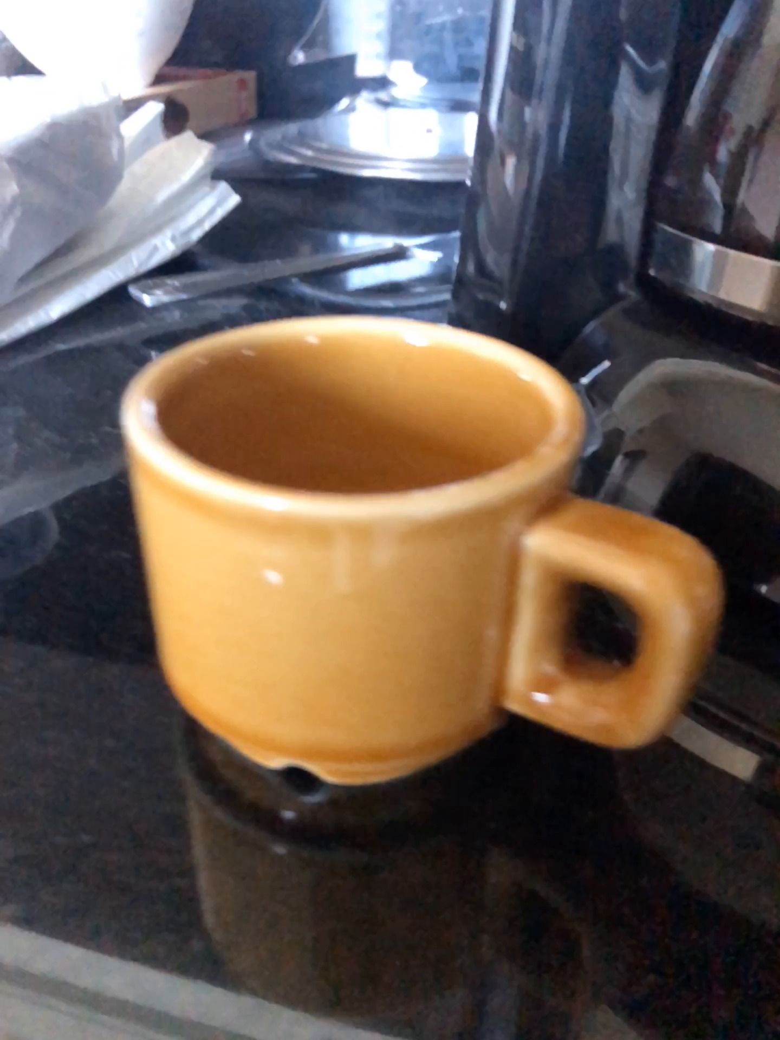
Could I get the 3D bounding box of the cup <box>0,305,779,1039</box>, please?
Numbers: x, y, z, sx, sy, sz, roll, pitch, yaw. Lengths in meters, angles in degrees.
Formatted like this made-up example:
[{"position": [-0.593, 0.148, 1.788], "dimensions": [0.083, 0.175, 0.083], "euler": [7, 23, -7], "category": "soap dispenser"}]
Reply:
[{"position": [0.005, 0.009, 0.135], "dimensions": [0.100, 0.050, 0.070], "euler": [21, 36, 30], "category": "cup"}]
